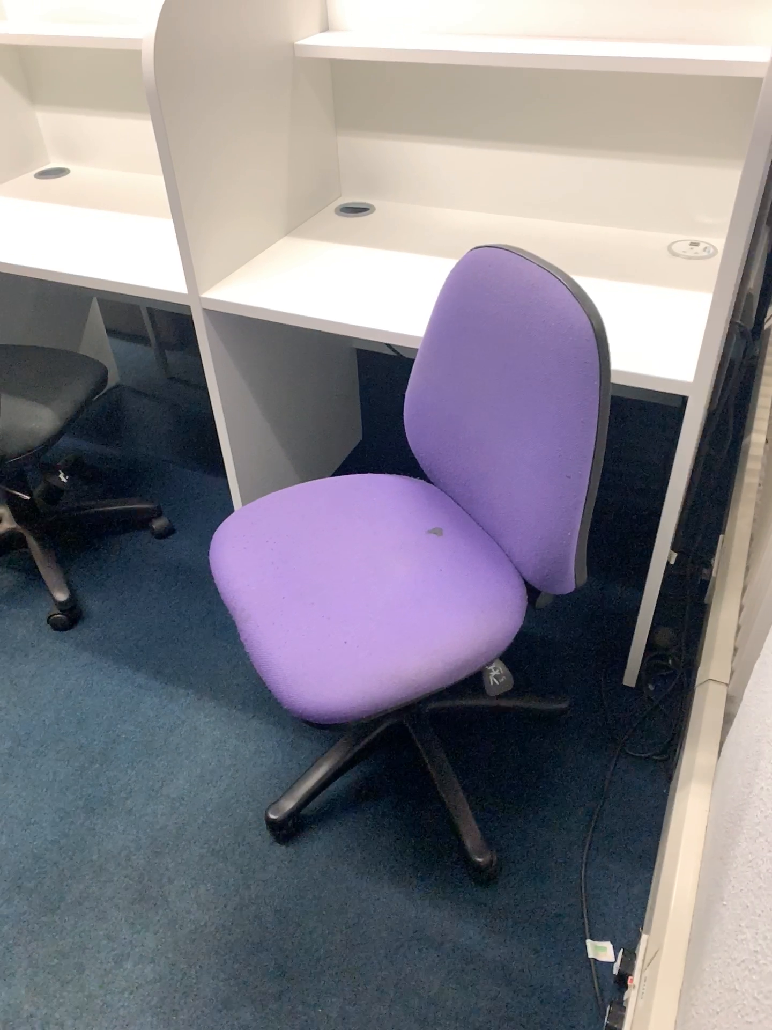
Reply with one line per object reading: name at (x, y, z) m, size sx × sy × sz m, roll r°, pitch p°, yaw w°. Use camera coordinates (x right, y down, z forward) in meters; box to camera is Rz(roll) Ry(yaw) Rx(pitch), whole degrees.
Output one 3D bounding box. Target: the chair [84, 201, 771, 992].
chair at (0.022, 0.091, 1.267) m, size 0.651 × 0.862 × 0.696 m, roll -19°, pitch 42°, yaw -19°
